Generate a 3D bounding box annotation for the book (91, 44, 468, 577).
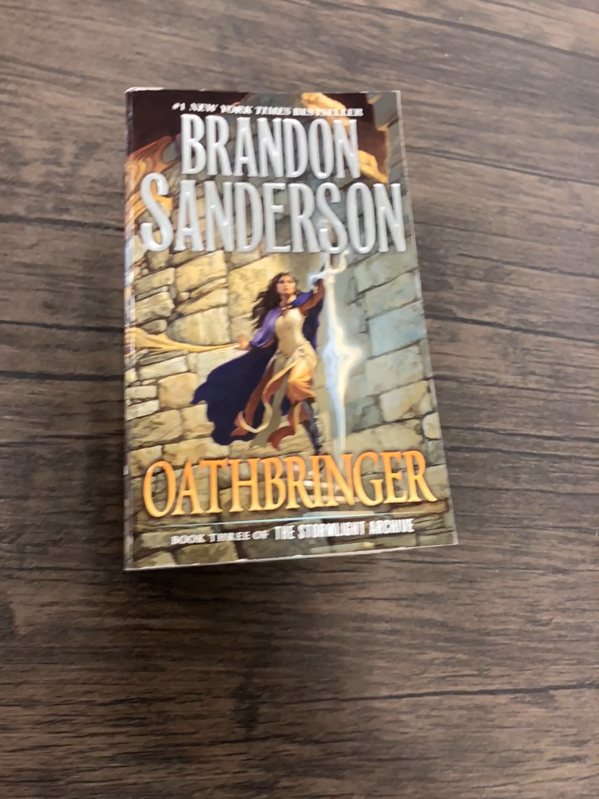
[{"bbox_3d":[-0.014,-0.026,0.239,0.111,0.058,0.167,1,76,-15],"label":"book"}]
